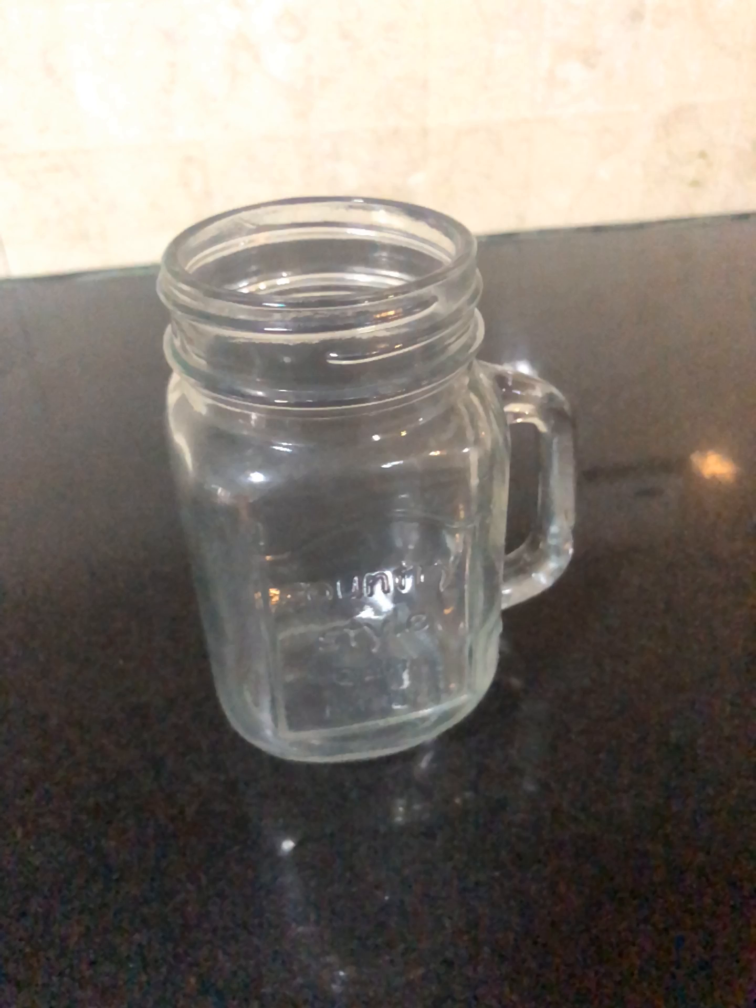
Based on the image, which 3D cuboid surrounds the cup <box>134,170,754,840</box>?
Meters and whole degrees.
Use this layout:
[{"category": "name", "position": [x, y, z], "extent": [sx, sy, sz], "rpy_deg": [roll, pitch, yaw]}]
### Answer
[{"category": "cup", "position": [0.008, -0.002, 0.215], "extent": [0.110, 0.129, 0.081], "rpy_deg": [-9, 35, -10]}]
